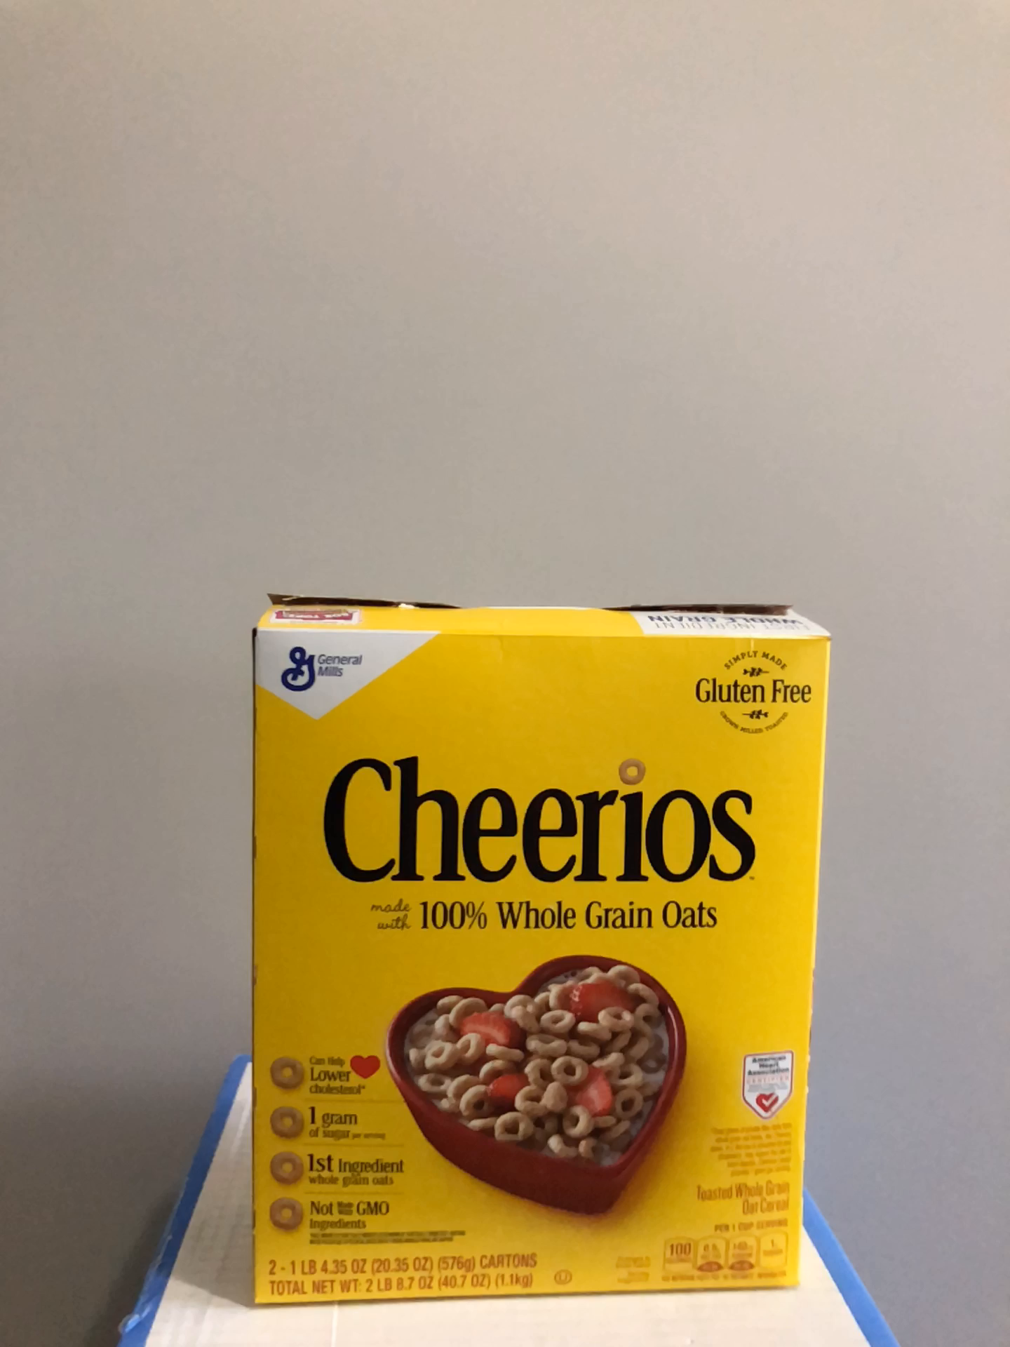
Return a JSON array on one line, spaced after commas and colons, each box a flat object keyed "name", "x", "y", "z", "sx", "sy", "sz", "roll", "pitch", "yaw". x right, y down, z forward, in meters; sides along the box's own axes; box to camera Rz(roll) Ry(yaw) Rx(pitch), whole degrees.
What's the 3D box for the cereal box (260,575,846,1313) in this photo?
[{"name": "cereal box", "x": 0.017, "y": 0.112, "z": 0.513, "sx": 0.240, "sy": 0.310, "sz": 0.090, "roll": 0, "pitch": 5, "yaw": -4}]
